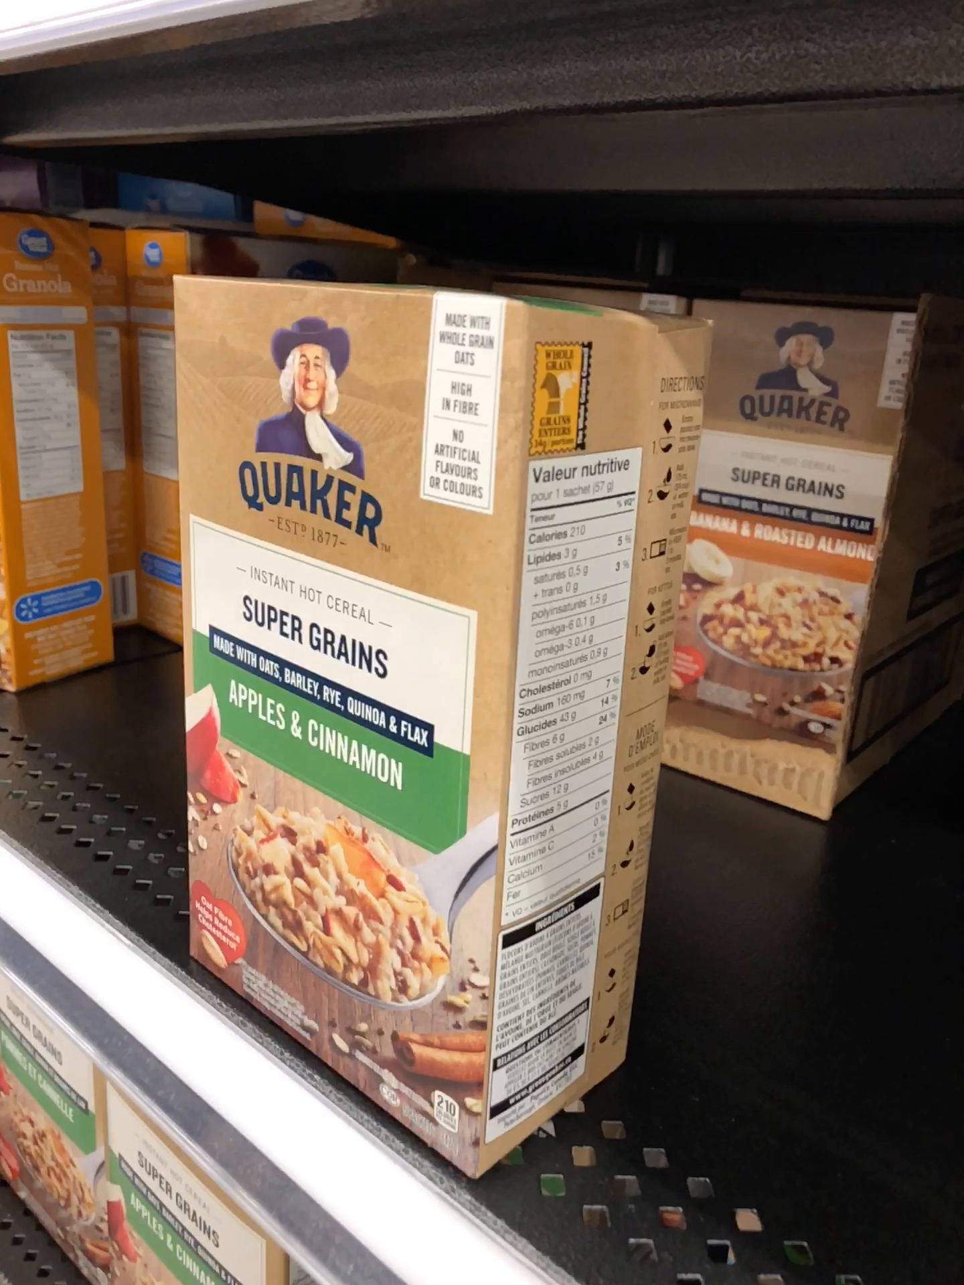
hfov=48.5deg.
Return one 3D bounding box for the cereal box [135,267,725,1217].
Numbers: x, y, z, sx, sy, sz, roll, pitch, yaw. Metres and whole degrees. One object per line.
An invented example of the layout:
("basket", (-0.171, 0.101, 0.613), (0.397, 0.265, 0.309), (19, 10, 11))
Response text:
("cereal box", (-0.023, 0.013, 0.274), (0.130, 0.199, 0.060), (19, 24, 39))
